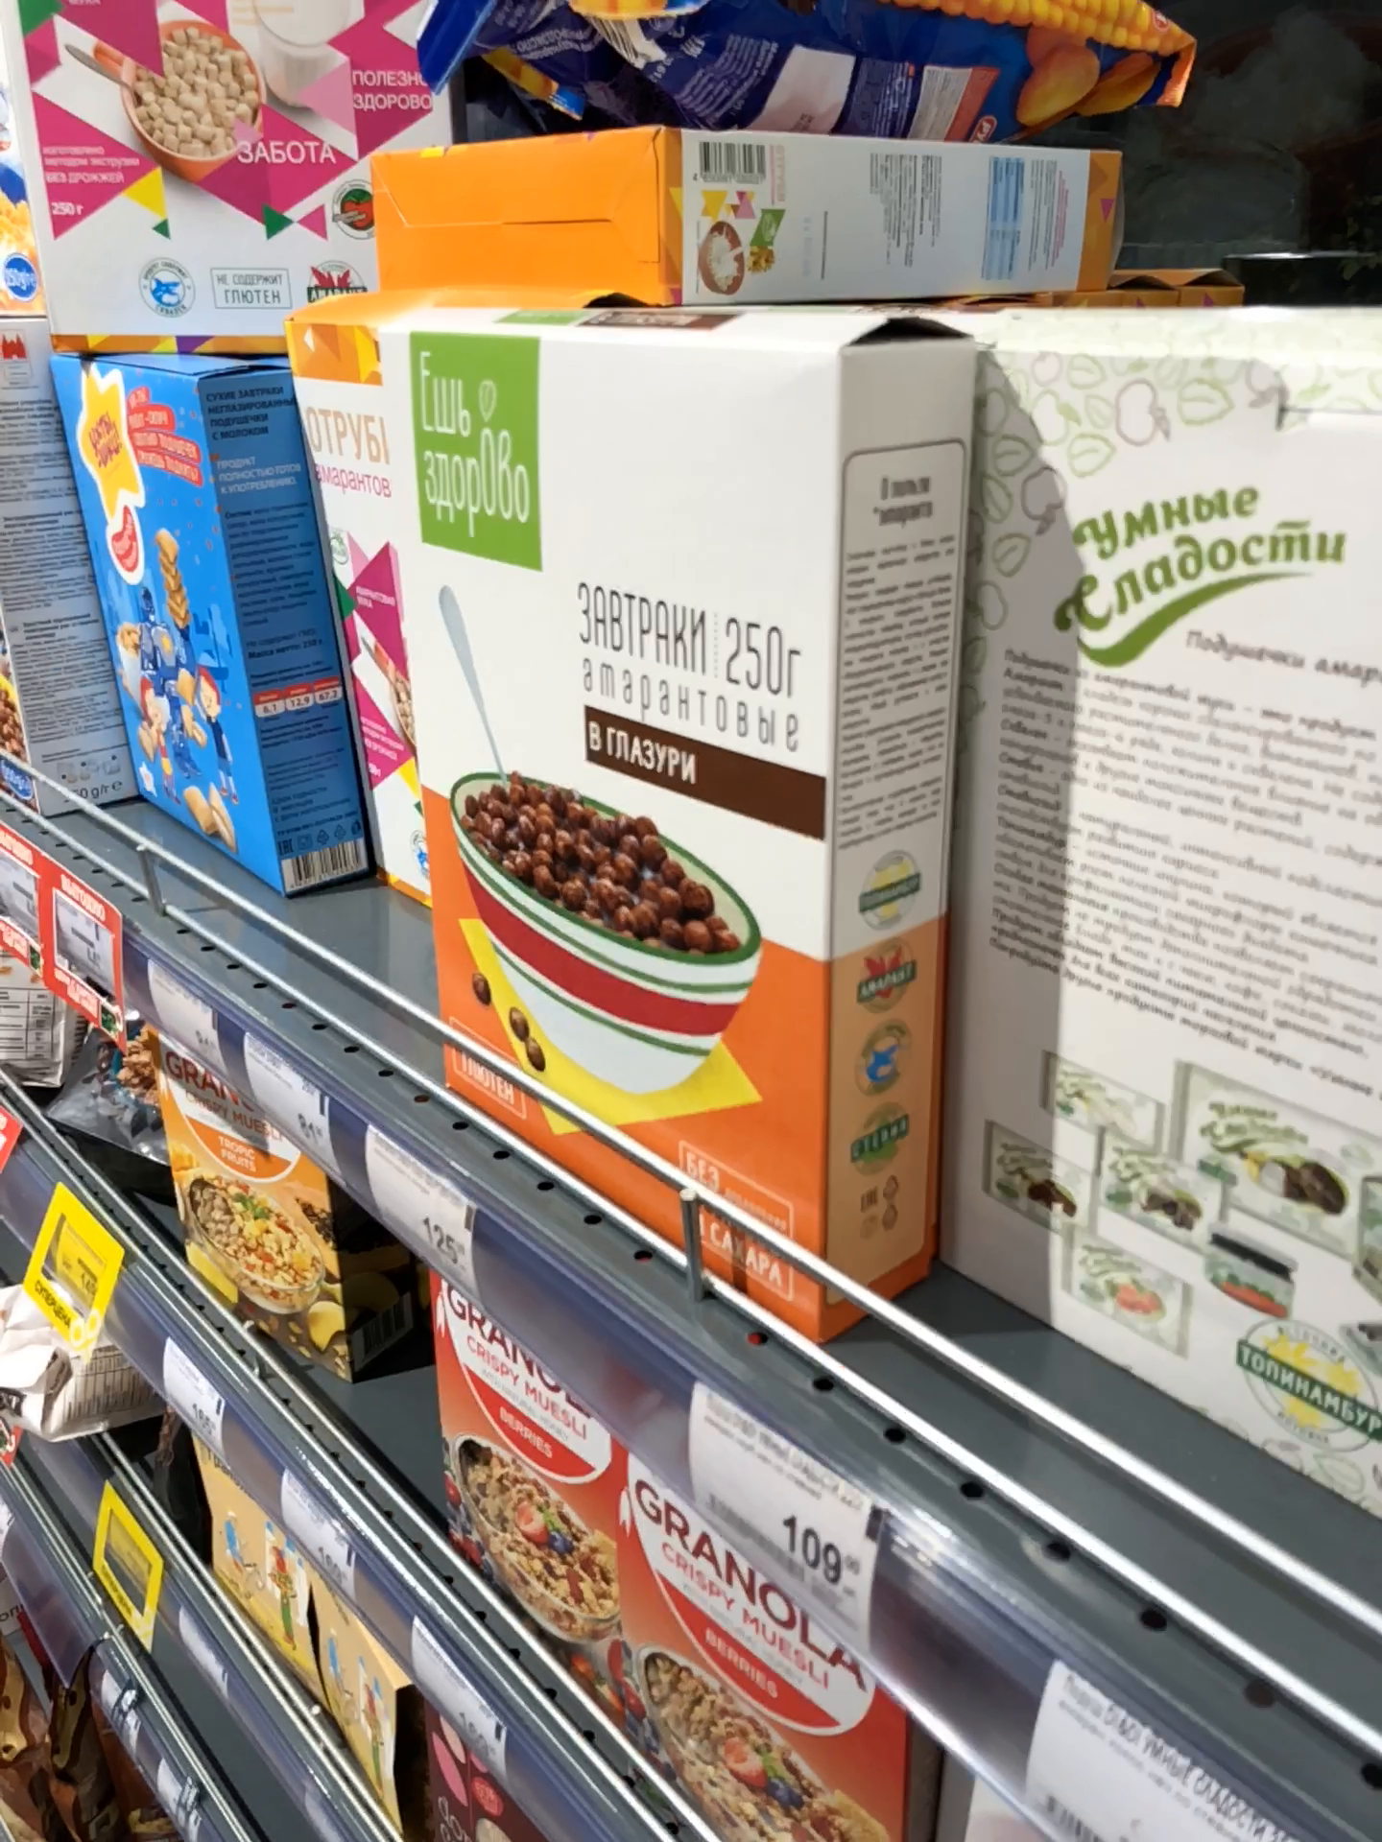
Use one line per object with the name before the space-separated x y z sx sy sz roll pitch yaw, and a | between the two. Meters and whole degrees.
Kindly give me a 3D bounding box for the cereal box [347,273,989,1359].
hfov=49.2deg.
cereal box | -0.014 -0.040 0.425 0.050 0.259 0.191 -19 29 -36
